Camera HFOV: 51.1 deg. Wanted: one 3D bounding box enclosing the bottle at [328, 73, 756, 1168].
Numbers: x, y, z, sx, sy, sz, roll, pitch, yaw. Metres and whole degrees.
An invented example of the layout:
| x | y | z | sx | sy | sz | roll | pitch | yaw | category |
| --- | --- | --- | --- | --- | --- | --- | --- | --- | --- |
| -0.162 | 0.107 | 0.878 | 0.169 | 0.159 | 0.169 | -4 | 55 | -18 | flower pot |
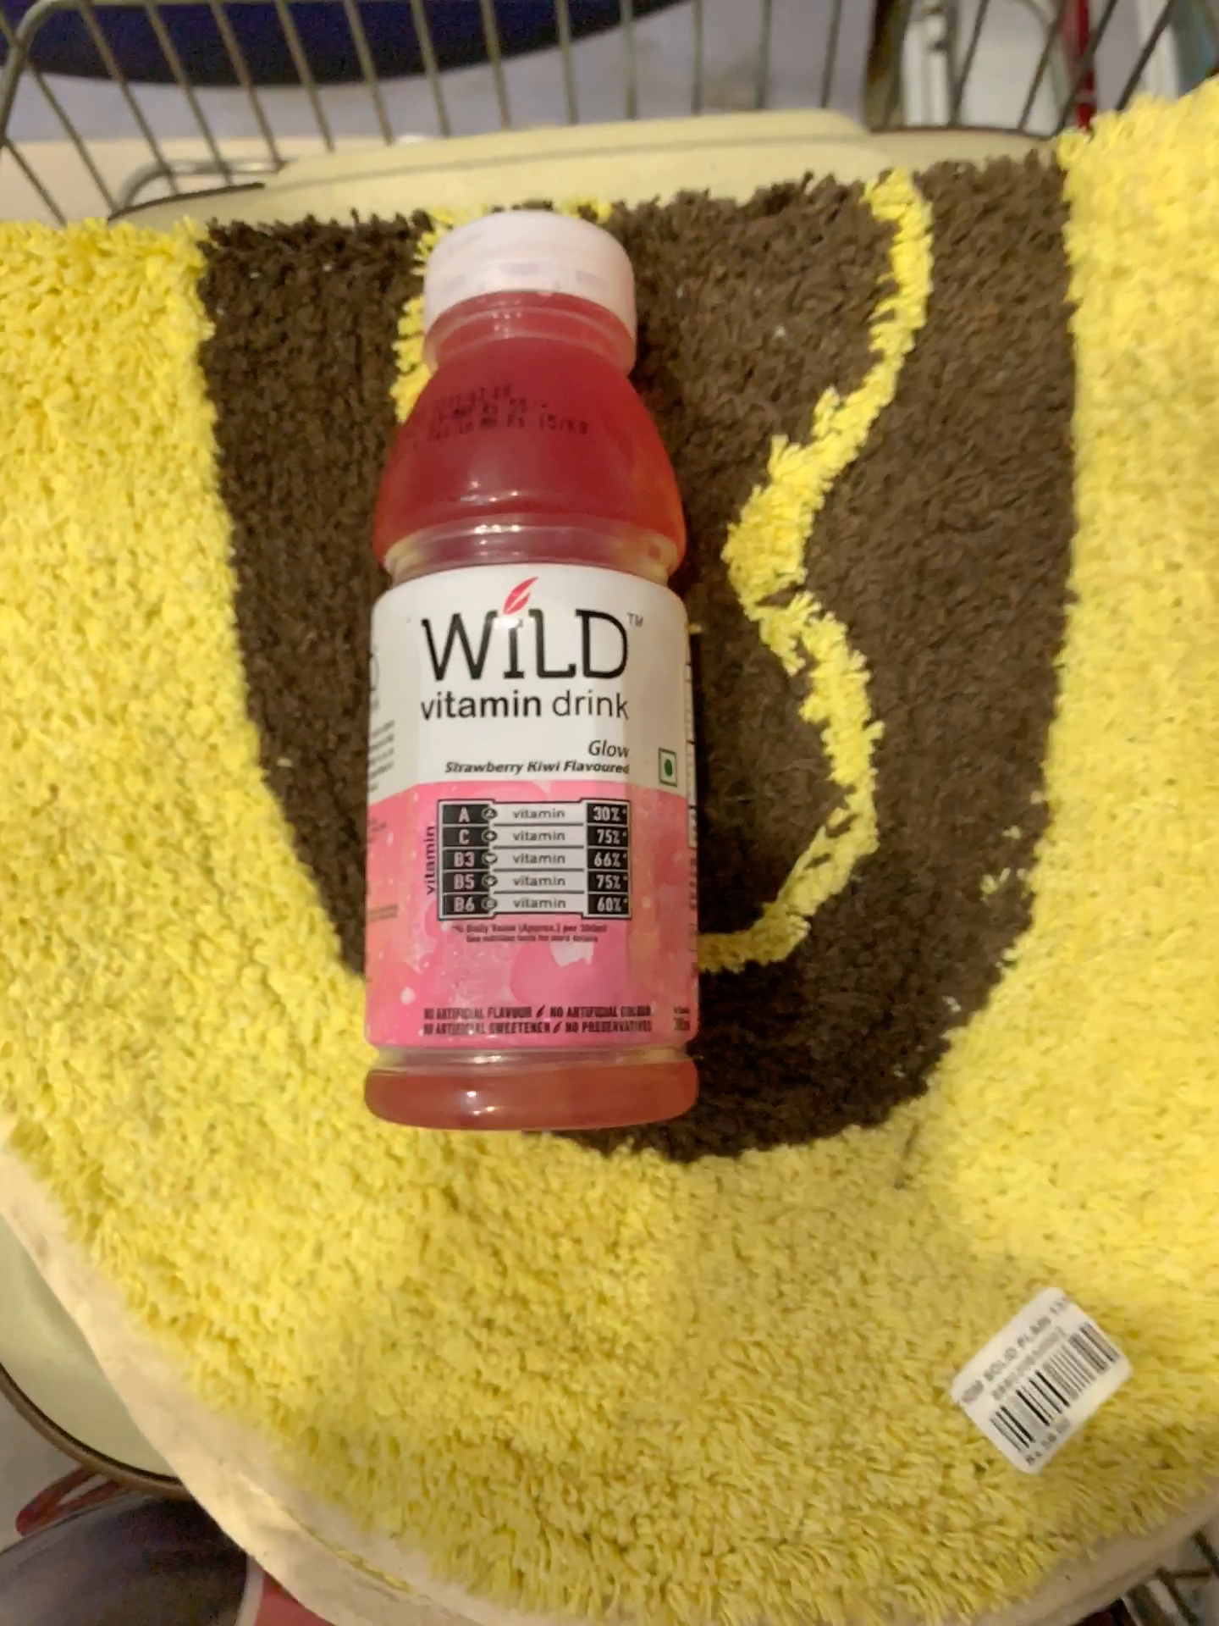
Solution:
| x | y | z | sx | sy | sz | roll | pitch | yaw | category |
| --- | --- | --- | --- | --- | --- | --- | --- | --- | --- |
| -0.009 | -0.028 | 0.214 | 0.060 | 0.050 | 0.160 | -1 | 89 | 5 | bottle |
